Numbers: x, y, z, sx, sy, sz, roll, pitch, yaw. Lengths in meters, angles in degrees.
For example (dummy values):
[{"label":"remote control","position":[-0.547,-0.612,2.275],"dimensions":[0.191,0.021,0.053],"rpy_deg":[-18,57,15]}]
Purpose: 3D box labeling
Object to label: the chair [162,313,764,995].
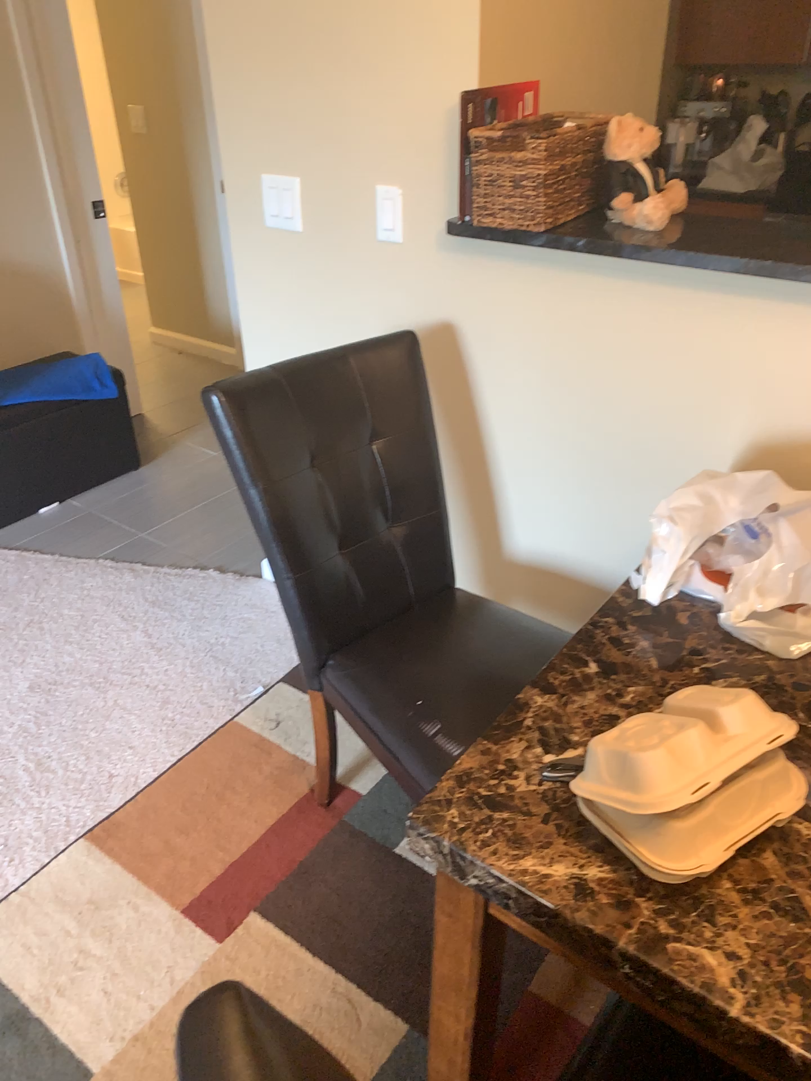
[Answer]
[{"label":"chair","position":[0.119,0.139,1.724],"dimensions":[0.733,0.925,0.811],"rpy_deg":[26,40,37]}]
